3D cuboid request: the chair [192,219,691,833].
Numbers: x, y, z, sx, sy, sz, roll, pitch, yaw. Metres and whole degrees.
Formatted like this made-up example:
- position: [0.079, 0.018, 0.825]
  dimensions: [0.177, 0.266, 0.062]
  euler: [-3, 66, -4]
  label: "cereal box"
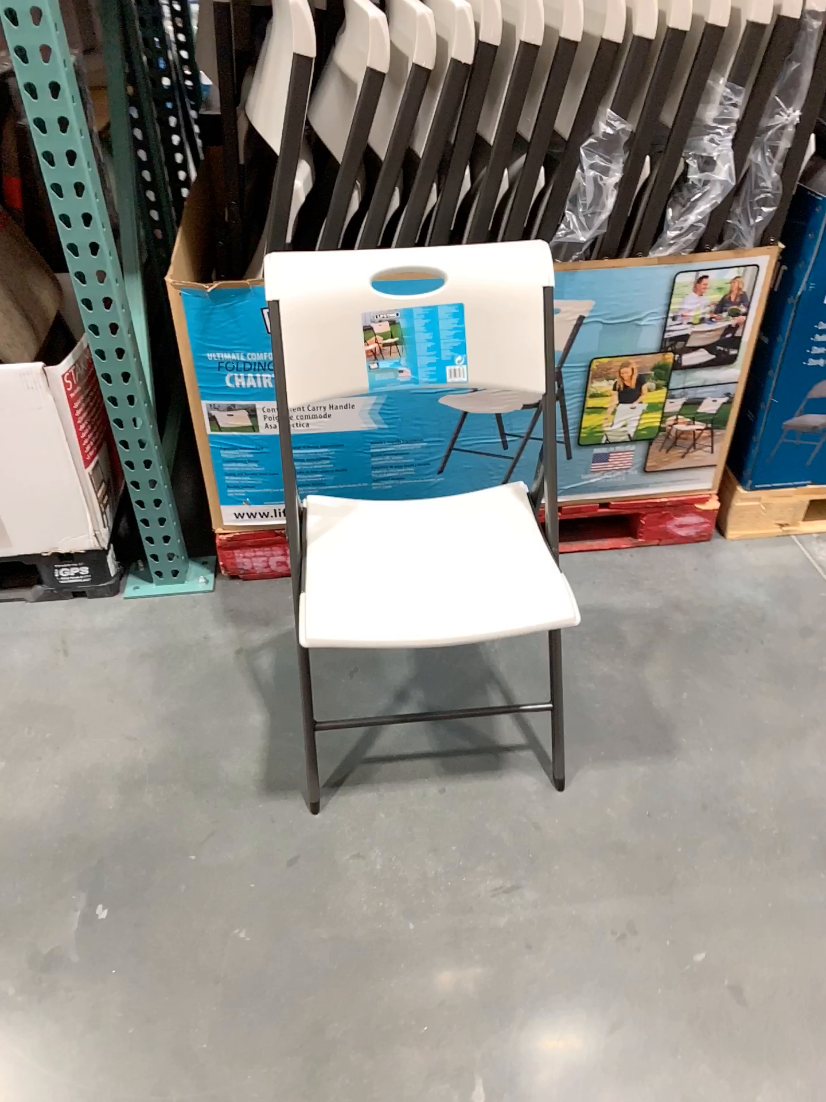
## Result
- position: [0.008, -0.041, 1.421]
  dimensions: [0.565, 0.805, 0.577]
  euler: [-5, 39, -5]
  label: "chair"
